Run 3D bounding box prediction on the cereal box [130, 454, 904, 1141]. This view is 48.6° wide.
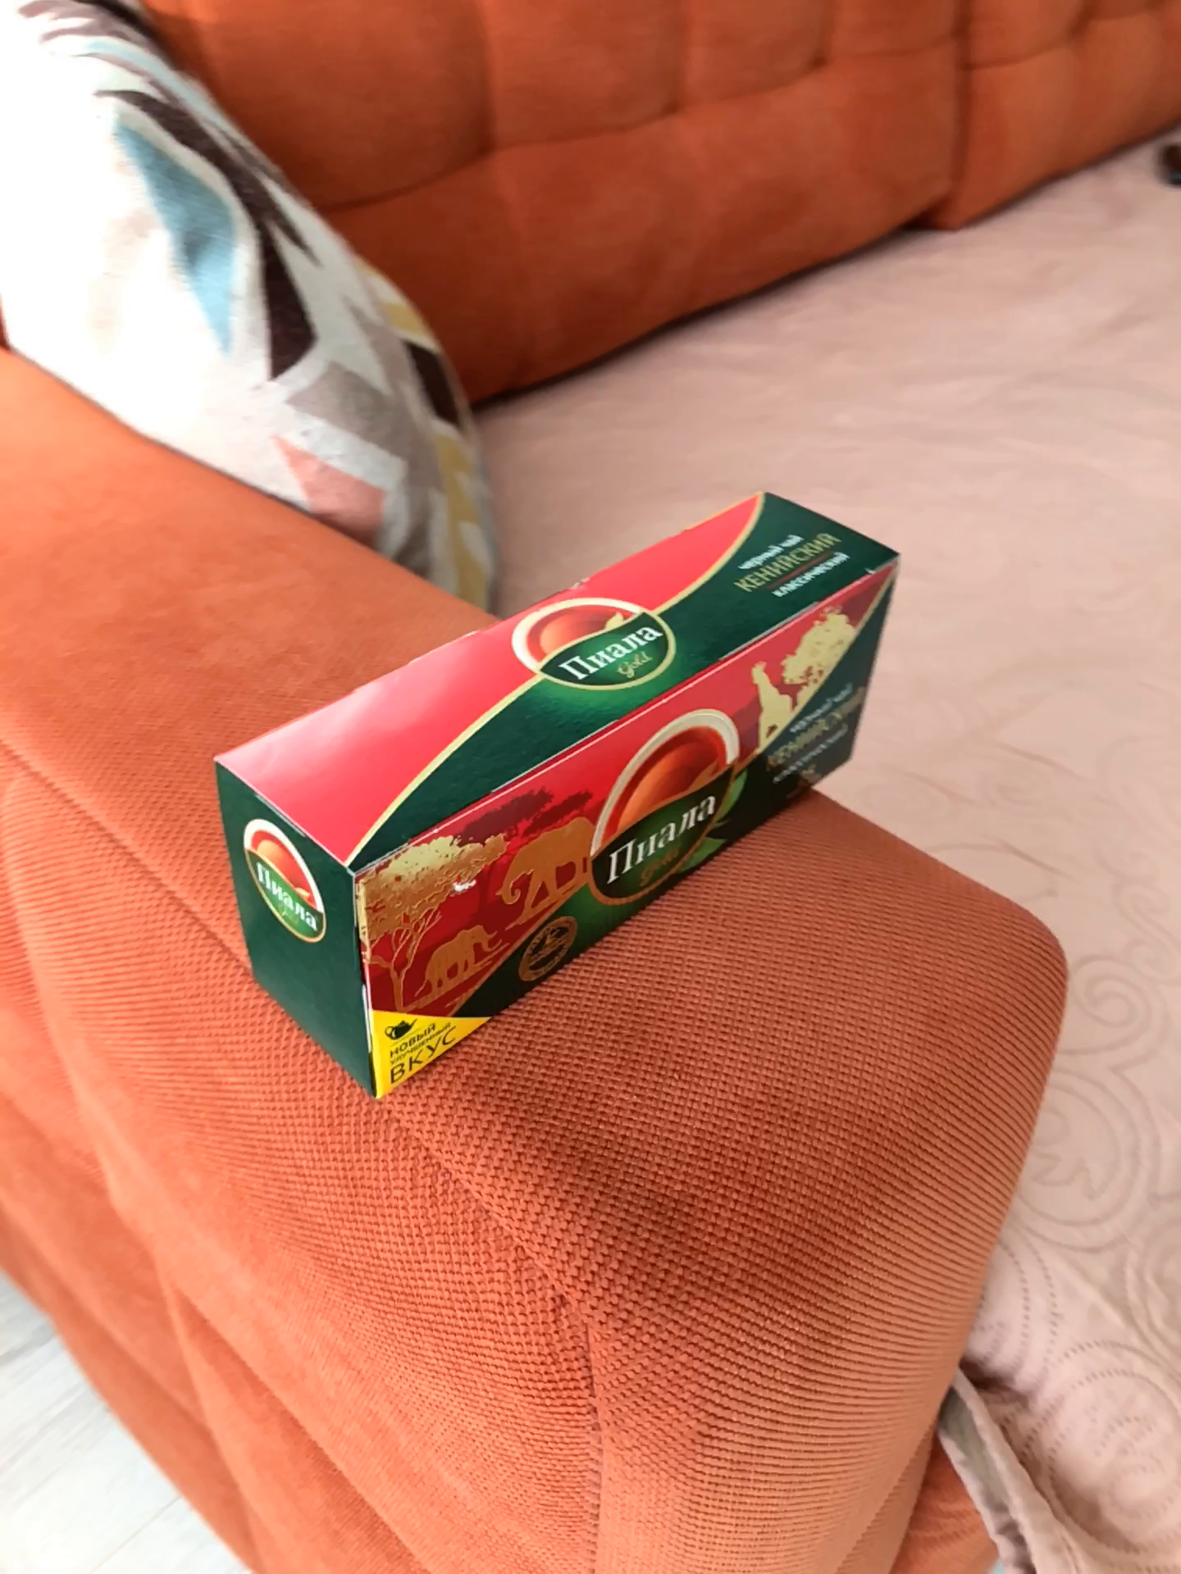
[{"bbox_3d":[-0.005,-0.008,0.290,0.050,0.069,0.171,31,48,33],"label":"cereal box"}]
